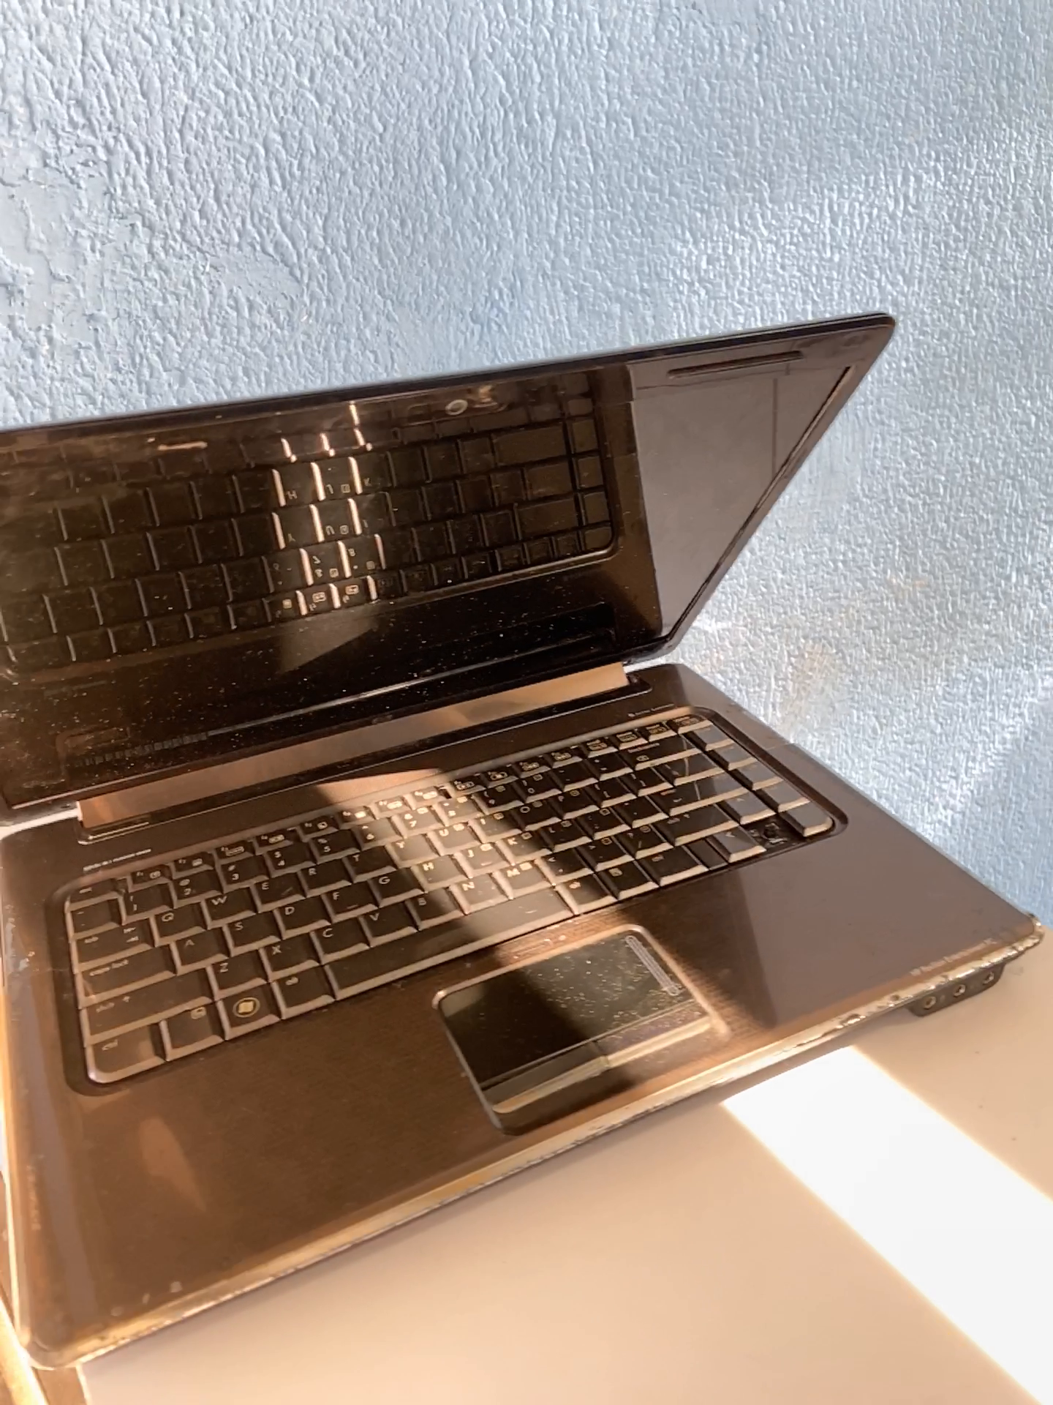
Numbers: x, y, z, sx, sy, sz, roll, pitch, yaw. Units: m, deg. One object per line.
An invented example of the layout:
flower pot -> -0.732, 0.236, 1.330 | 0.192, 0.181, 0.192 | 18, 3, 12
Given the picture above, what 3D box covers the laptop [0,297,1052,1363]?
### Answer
laptop -> -0.025, -0.013, 0.389 | 0.344, 0.190, 0.245 | -14, 29, -21
